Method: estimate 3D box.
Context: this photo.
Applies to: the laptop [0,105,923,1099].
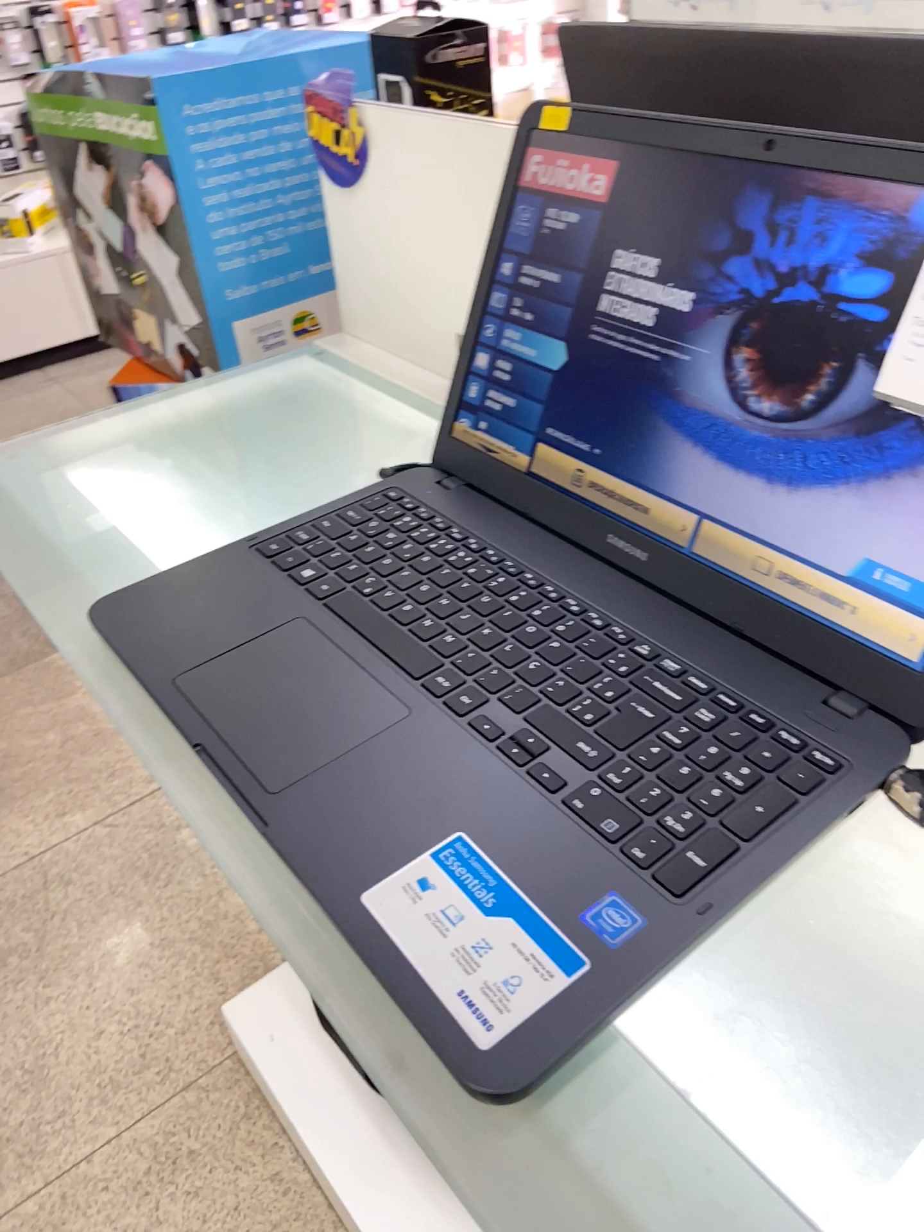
[{"bbox_3d":[0.025,-0.082,0.445,0.347,0.207,0.367,-28,41,-27],"label":"laptop"}]
